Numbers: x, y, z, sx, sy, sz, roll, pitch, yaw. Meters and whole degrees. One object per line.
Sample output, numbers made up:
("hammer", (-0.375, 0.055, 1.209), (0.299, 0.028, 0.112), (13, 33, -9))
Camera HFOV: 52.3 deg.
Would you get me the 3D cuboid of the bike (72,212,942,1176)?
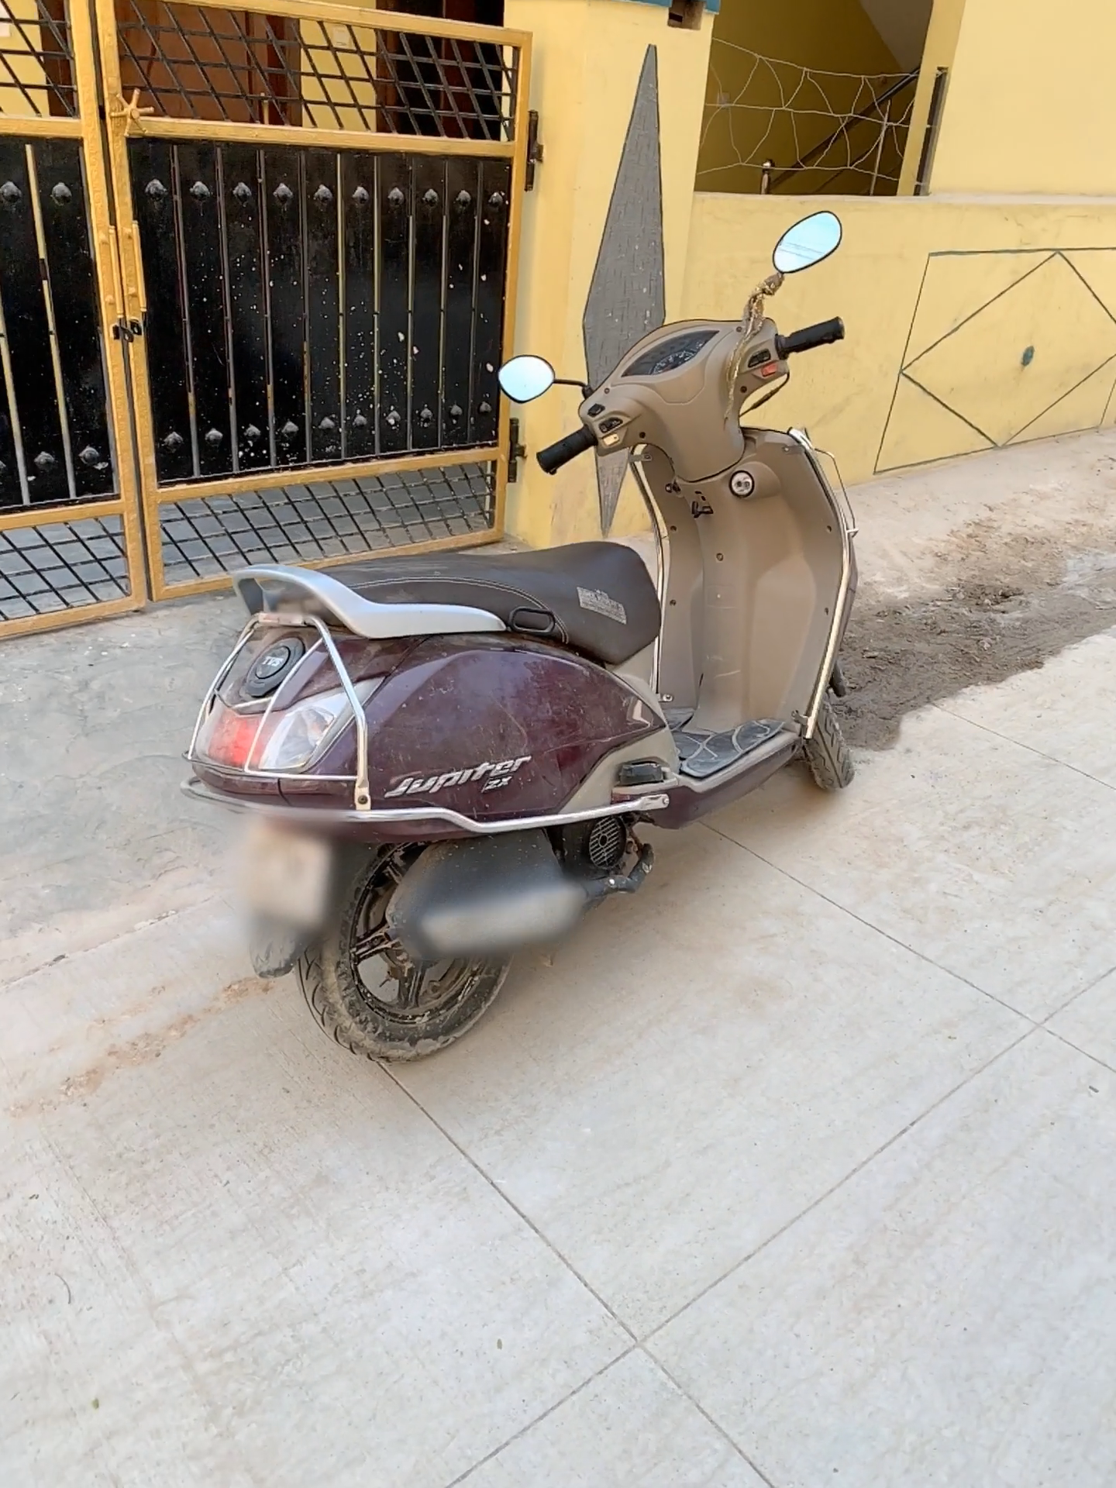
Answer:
("bike", (0.005, -0.262, 2.185), (0.614, 1.158, 1.530), (23, 37, 31))
